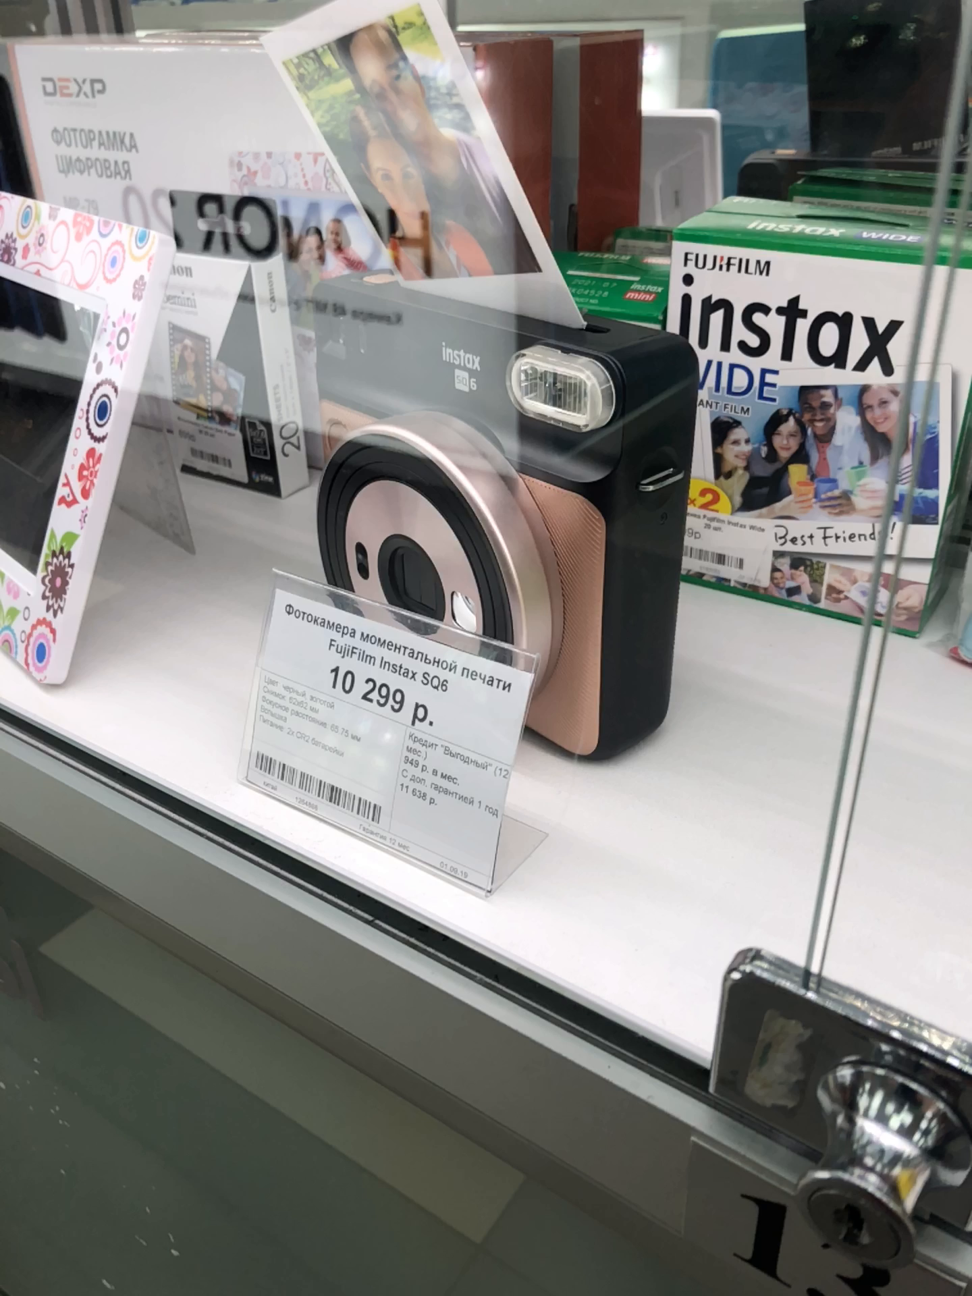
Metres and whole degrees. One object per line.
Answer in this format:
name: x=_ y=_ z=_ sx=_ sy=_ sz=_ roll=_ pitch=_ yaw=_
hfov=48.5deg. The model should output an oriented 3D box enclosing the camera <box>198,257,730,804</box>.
camera: x=-0.011 y=-0.042 z=0.305 sx=0.060 sy=0.104 sz=0.140 roll=-26 pitch=38 yaw=-34
